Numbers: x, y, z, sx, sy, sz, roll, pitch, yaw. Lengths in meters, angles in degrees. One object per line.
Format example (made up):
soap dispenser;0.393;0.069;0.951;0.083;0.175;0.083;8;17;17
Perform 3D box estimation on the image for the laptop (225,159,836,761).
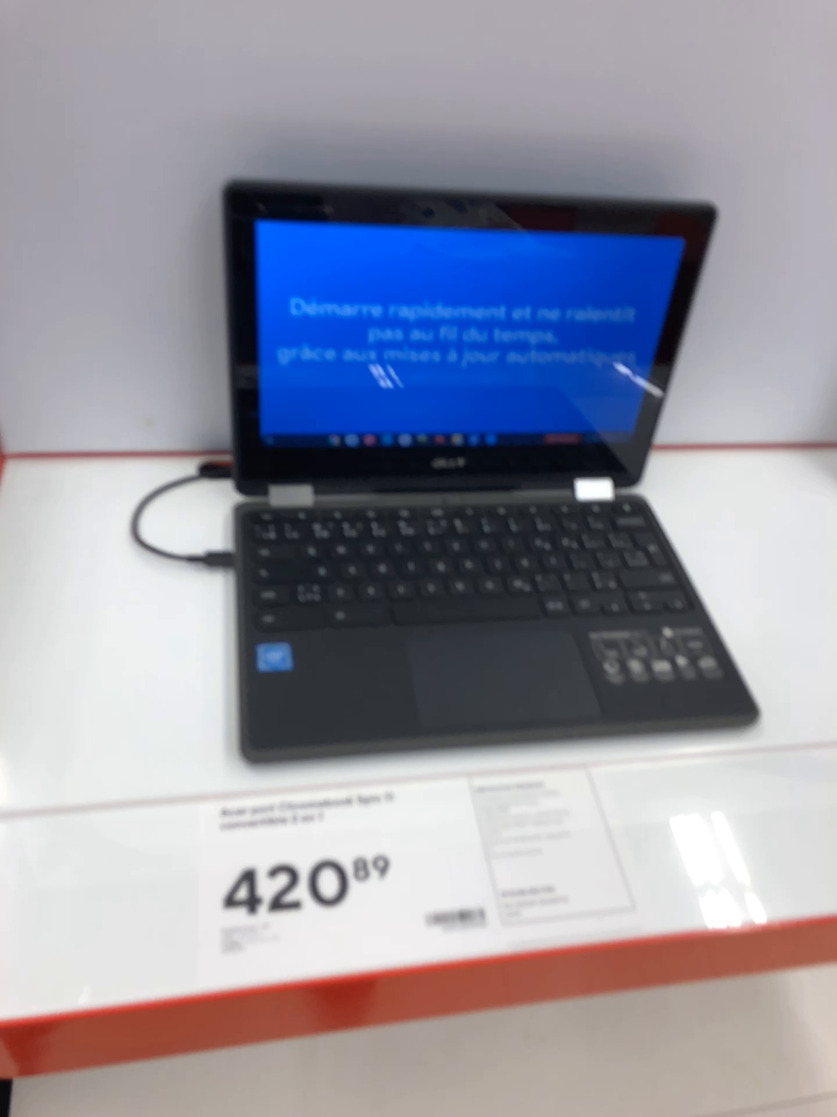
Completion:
laptop;0.045;-0.063;0.514;0.289;0.198;0.253;-2;46;-11
